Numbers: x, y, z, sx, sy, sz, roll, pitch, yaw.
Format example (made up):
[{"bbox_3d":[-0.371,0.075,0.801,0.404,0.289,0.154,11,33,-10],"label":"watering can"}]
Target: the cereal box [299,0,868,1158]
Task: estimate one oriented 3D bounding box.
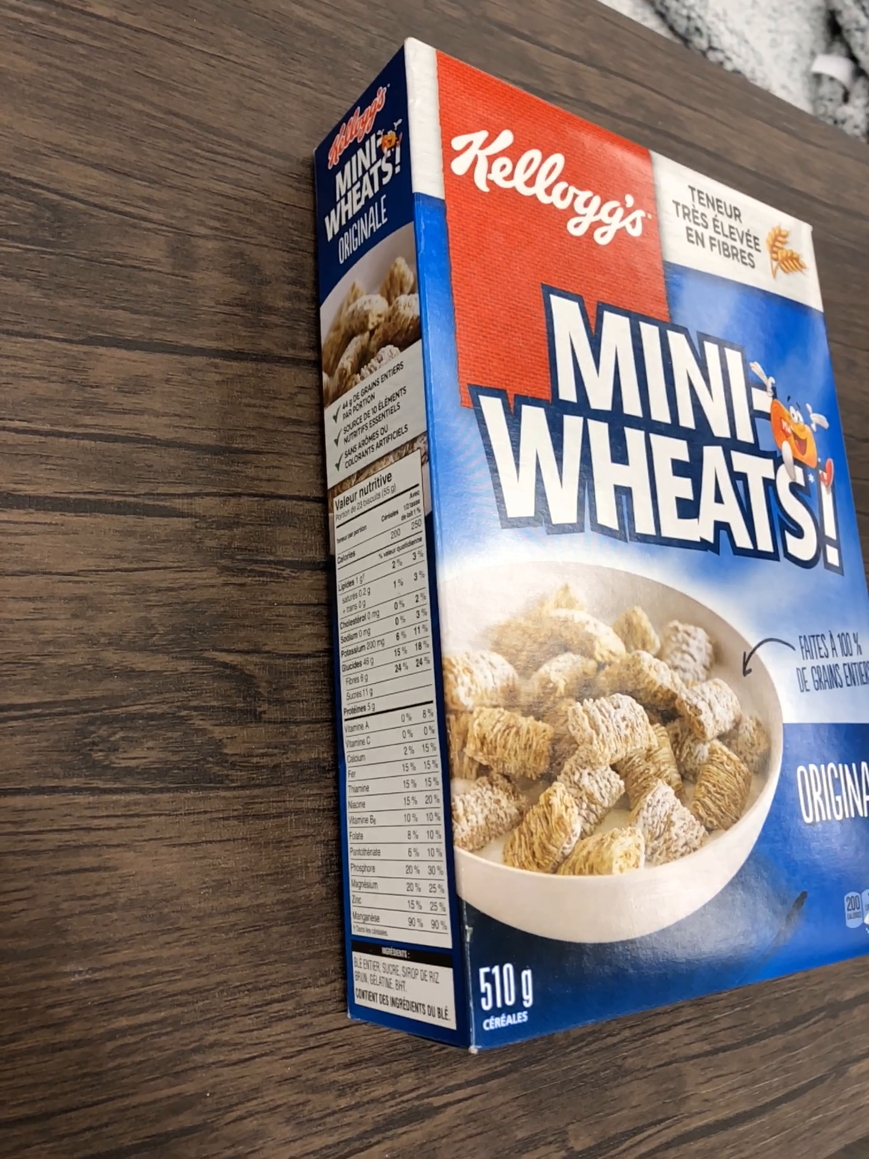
[{"bbox_3d":[0.073,-0.004,0.299,0.211,0.060,0.270,5,74,-35],"label":"cereal box"}]
